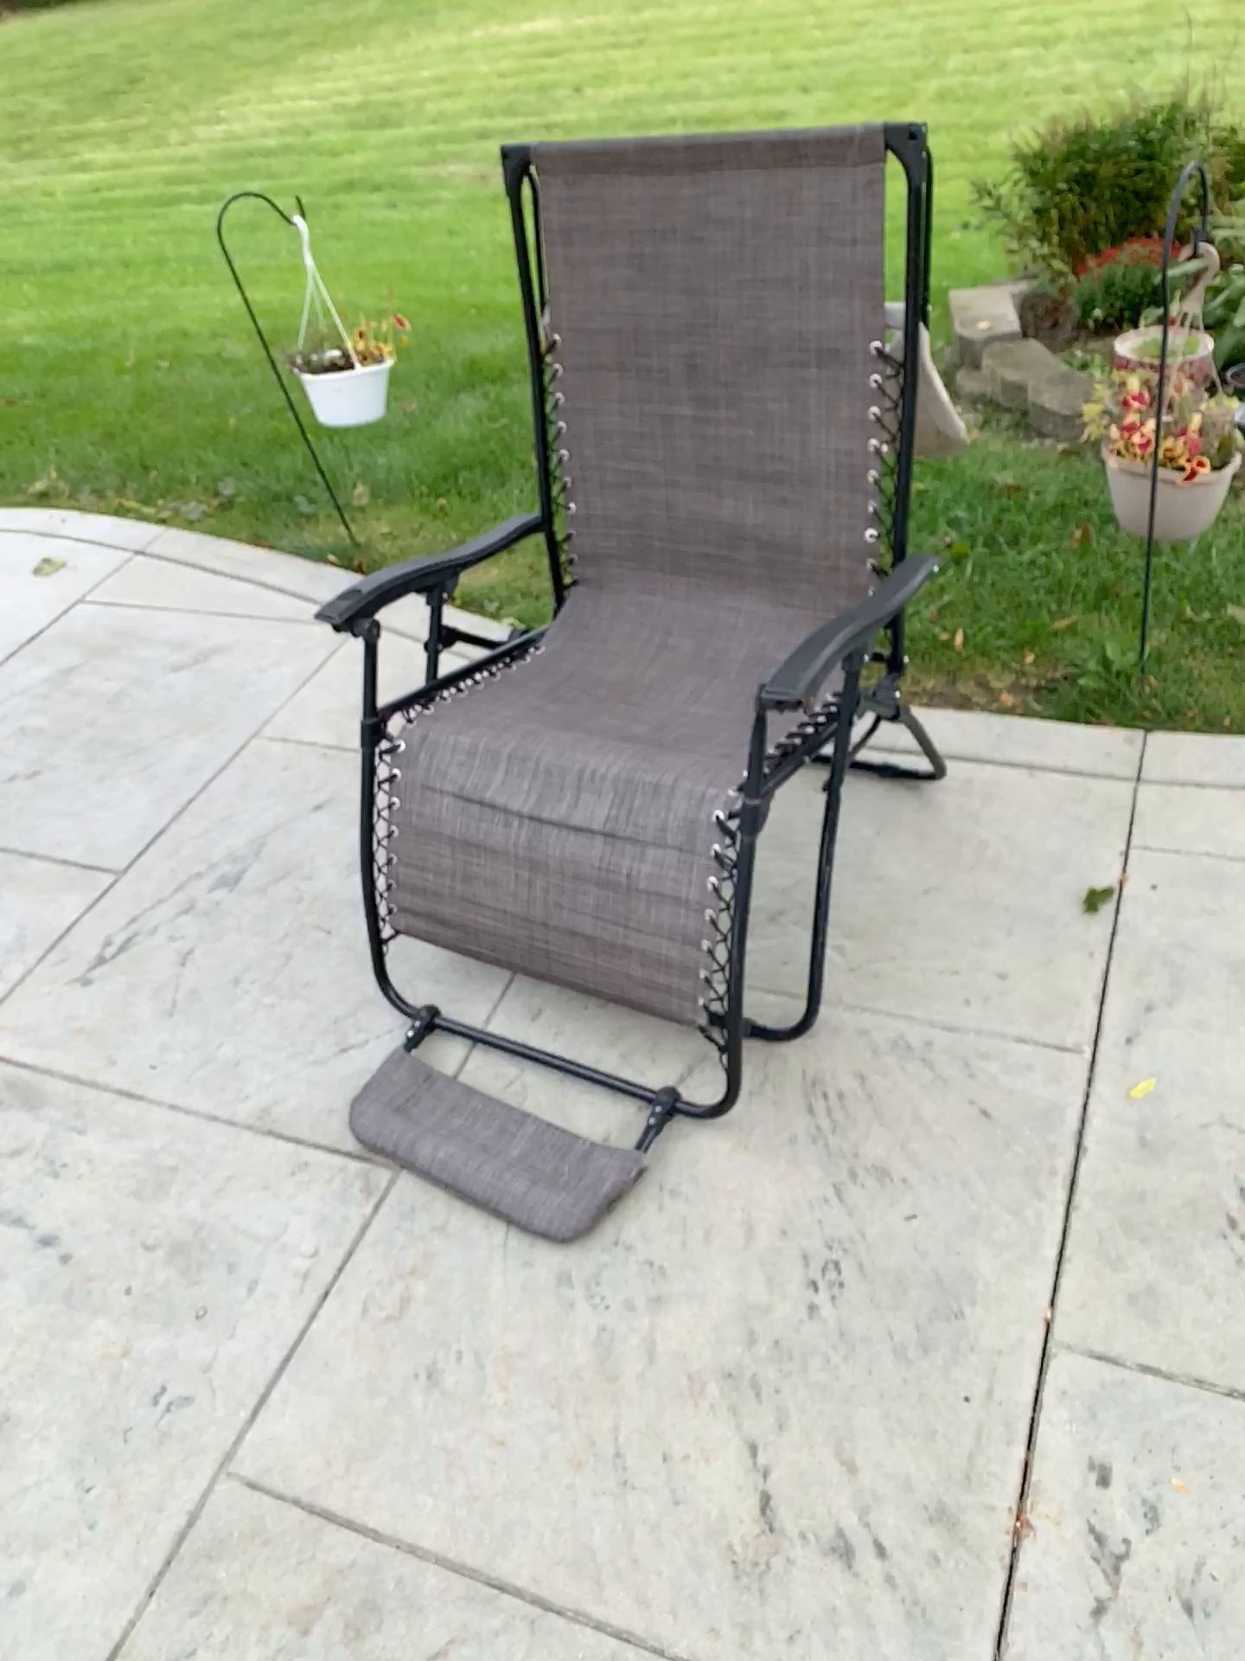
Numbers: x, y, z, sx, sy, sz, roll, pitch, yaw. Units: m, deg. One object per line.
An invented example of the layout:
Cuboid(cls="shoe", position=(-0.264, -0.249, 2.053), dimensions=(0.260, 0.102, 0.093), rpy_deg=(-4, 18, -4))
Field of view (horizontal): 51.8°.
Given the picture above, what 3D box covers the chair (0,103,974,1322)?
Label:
Cuboid(cls="chair", position=(-0.071, -0.236, 1.764), dimensions=(0.743, 1.056, 1.151), rpy_deg=(14, 46, 28))
